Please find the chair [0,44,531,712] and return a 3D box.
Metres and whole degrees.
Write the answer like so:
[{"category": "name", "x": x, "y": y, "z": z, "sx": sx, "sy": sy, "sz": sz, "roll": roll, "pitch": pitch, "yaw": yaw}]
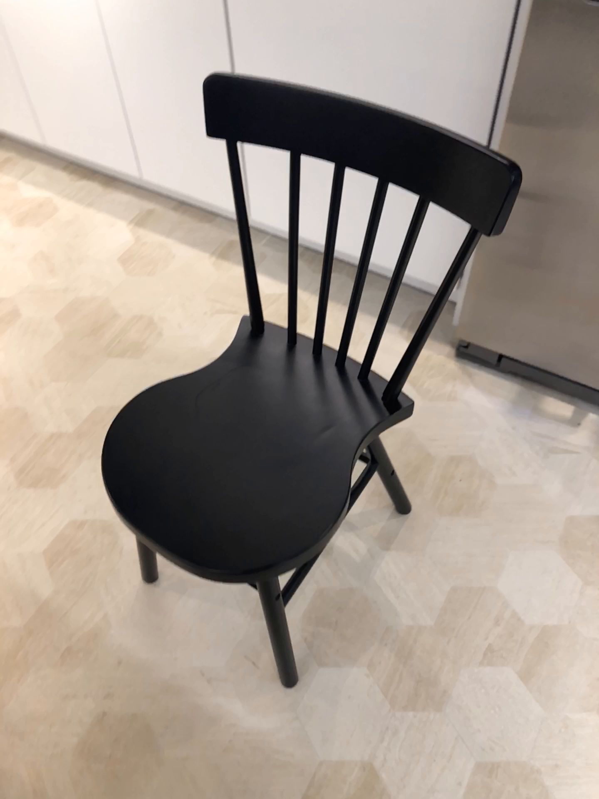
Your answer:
[{"category": "chair", "x": -0.074, "y": 0.009, "z": 0.991, "sx": 0.481, "sy": 0.746, "sz": 0.511, "roll": 29, "pitch": 59, "yaw": 22}]
